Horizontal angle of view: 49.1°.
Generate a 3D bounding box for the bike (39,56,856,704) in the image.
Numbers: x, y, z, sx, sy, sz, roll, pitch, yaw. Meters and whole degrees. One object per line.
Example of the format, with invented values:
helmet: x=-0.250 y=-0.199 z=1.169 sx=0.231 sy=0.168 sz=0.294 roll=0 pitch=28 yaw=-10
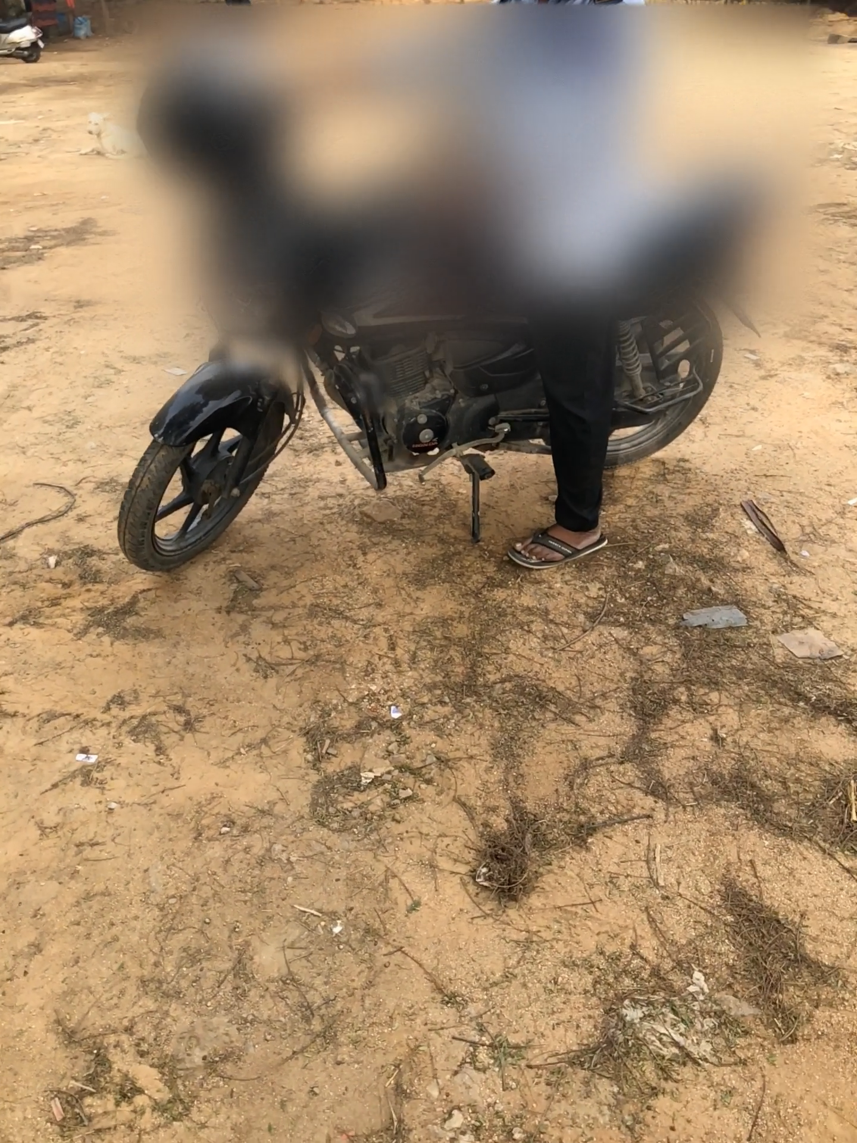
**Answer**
bike: x=0.025 y=-0.513 z=2.206 sx=1.565 sy=0.913 sz=0.671 roll=-18 pitch=35 yaw=-14
